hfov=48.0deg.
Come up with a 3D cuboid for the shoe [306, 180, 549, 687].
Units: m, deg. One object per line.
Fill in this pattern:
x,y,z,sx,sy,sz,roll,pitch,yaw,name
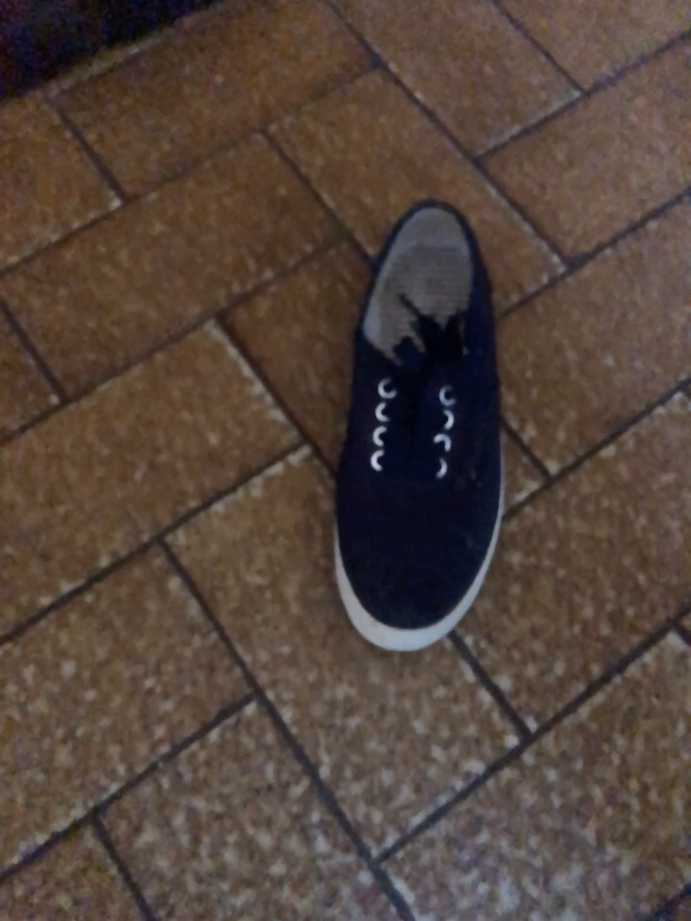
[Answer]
0.039,-0.015,0.390,0.100,0.070,0.240,3,71,0,shoe
